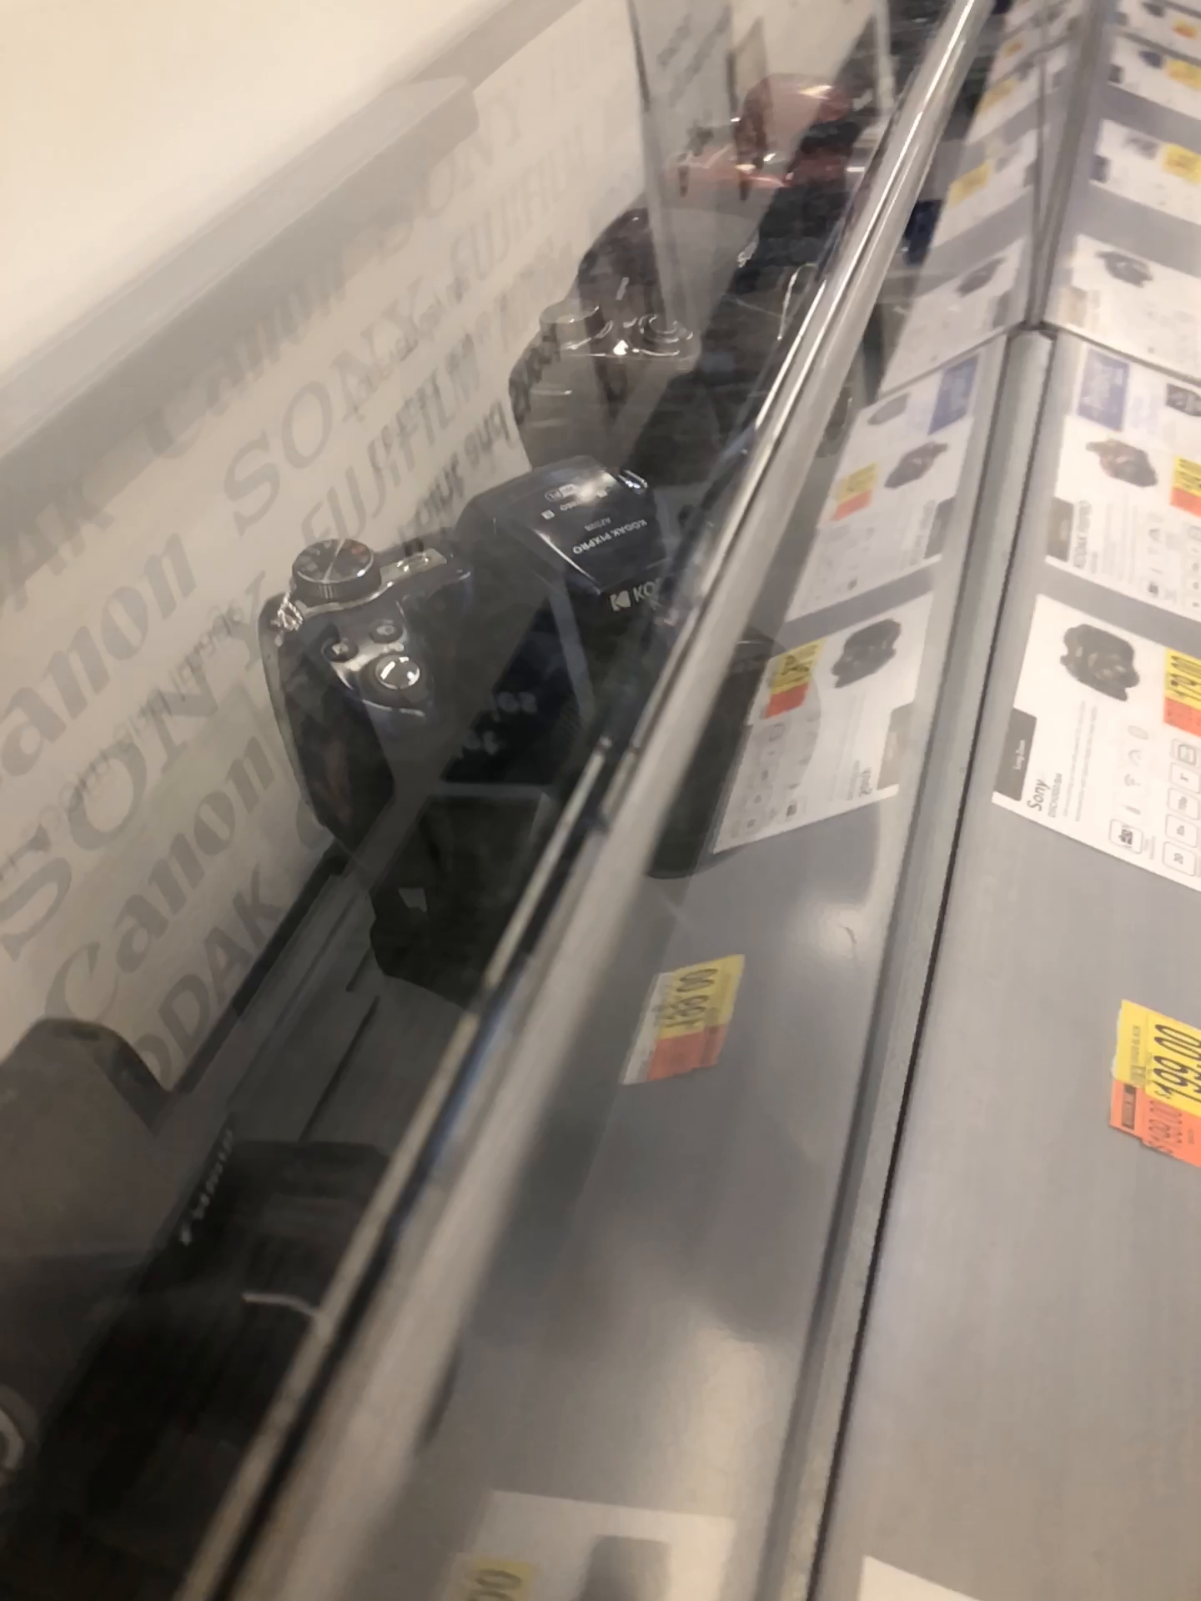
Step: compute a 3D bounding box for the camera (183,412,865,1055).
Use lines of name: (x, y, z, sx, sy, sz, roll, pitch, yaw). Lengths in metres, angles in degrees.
camera: (-0.016, -0.026, 0.353, 0.130, 0.080, 0.110, -32, 46, -23)
